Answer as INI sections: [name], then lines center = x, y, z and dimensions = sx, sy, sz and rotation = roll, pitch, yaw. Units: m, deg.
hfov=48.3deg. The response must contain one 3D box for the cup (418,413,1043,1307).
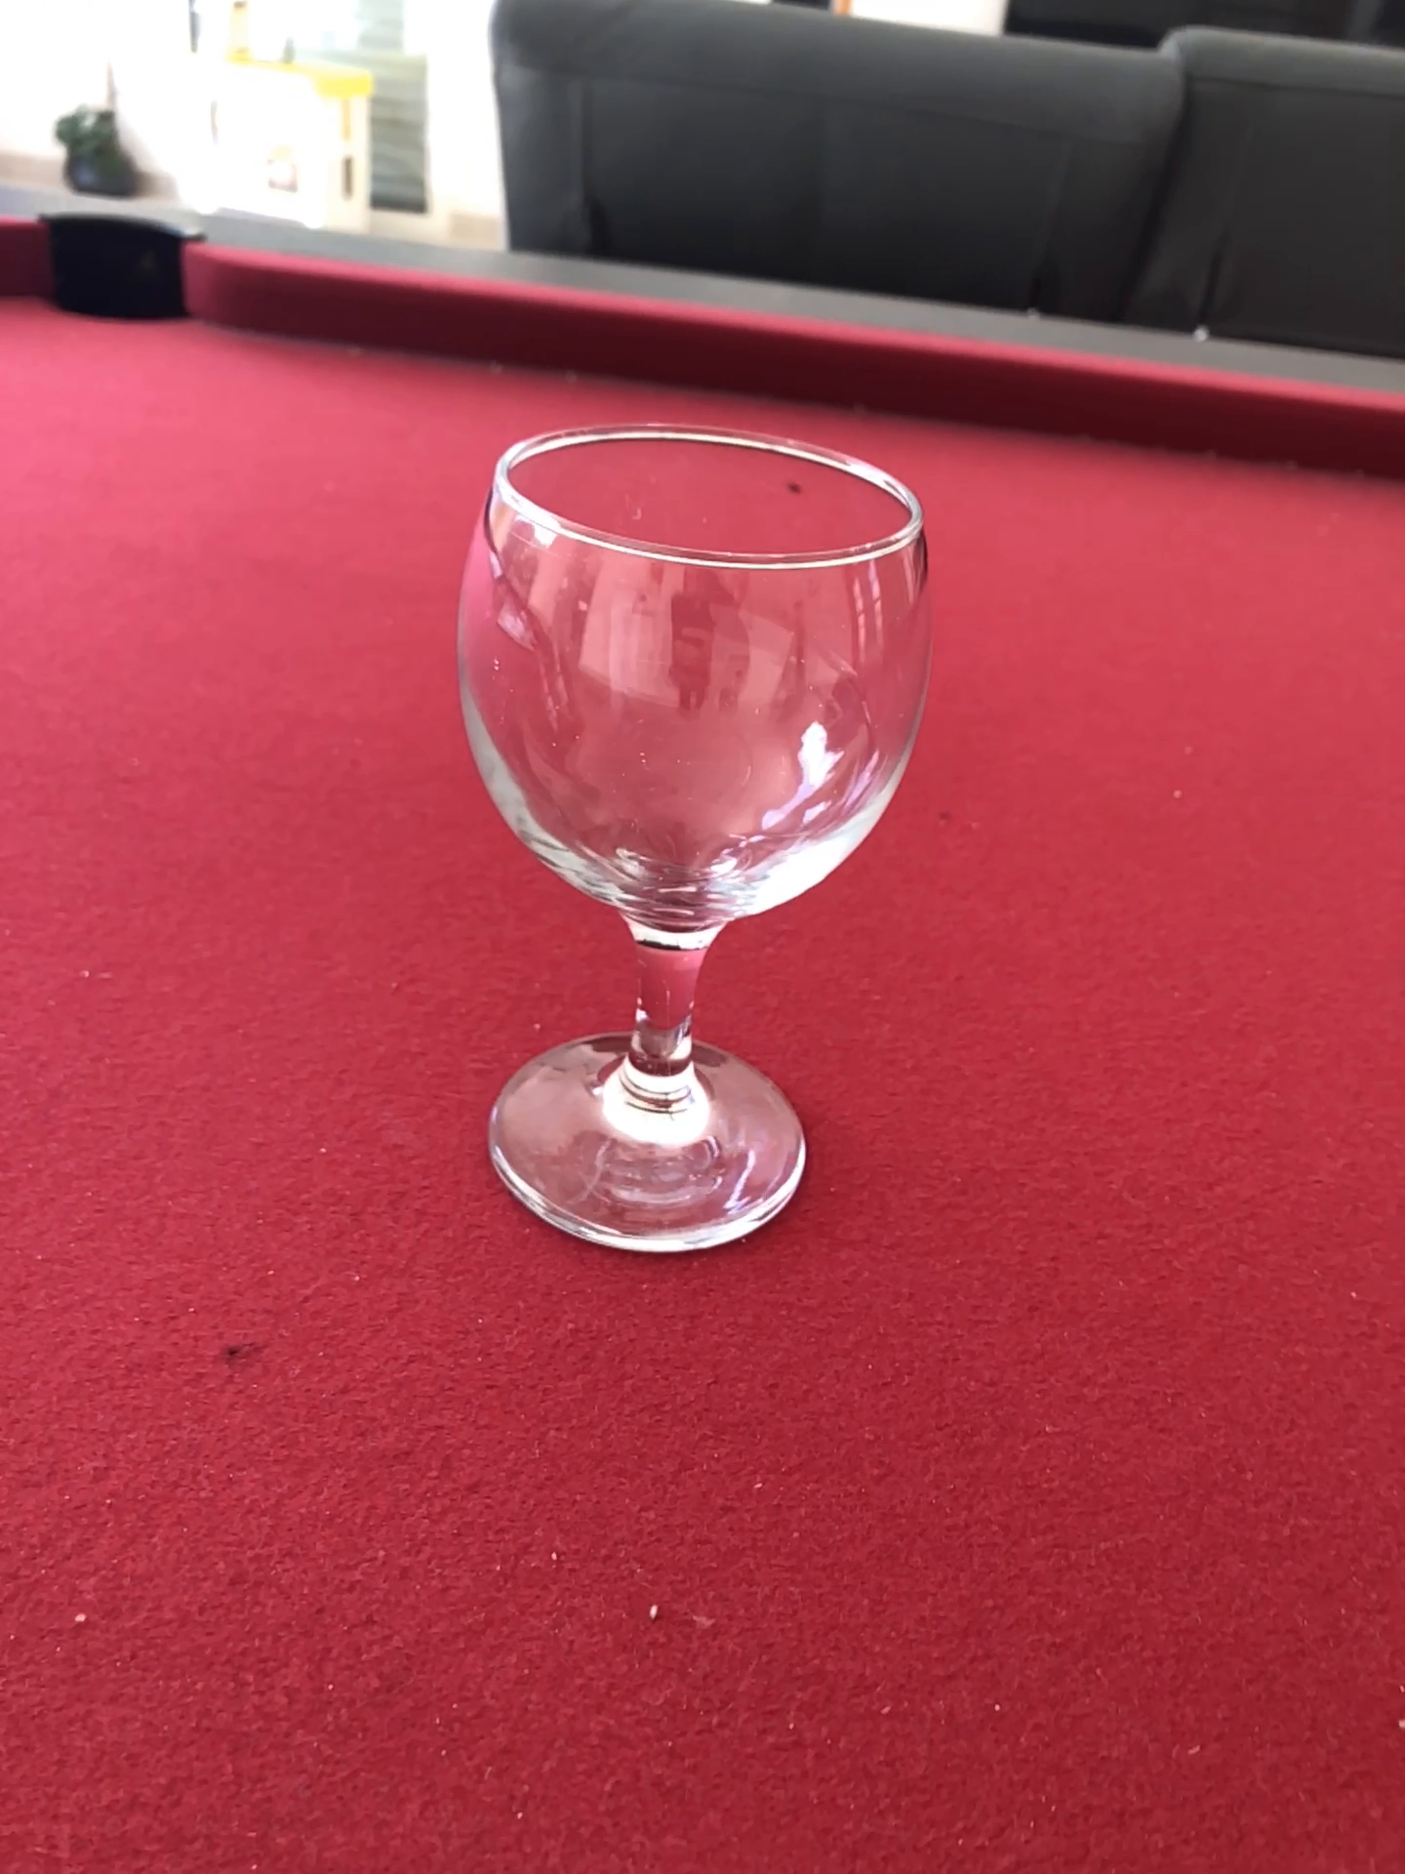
[cup]
center = -0.003, -0.016, 0.278
dimensions = 0.070, 0.129, 0.070
rotation = 5, 32, -3
